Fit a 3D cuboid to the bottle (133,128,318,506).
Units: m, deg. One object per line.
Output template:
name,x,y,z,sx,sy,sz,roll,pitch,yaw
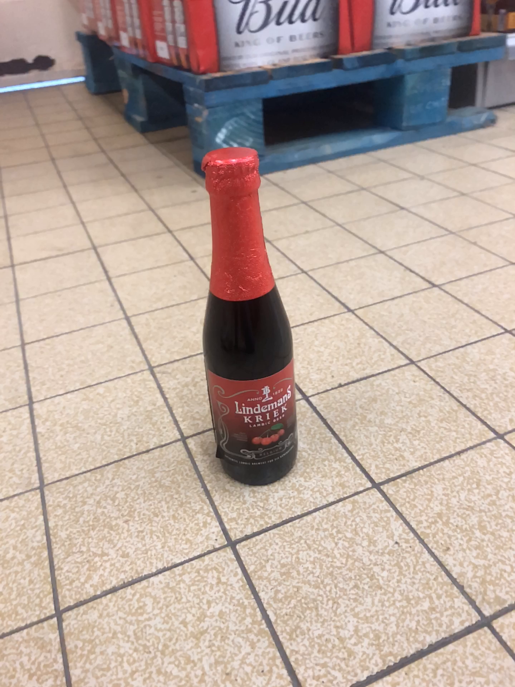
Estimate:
bottle,-0.013,-0.010,0.331,0.070,0.199,0.070,-4,32,2
